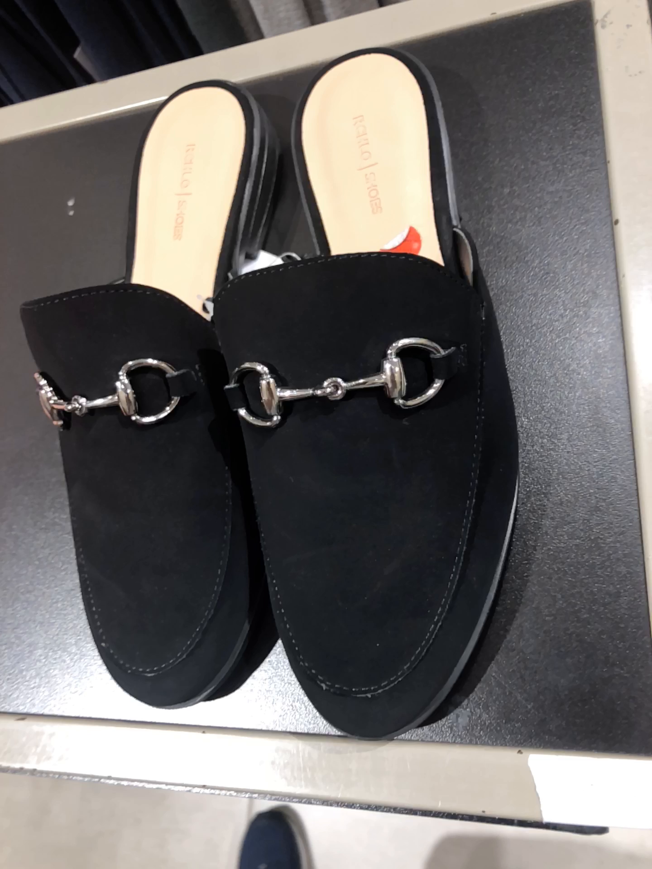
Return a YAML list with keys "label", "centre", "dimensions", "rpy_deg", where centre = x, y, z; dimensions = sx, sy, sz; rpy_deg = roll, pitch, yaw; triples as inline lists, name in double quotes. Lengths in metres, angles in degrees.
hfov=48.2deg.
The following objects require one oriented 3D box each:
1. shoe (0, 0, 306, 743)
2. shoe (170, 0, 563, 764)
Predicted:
- label: "shoe"
  centre: [-0.065, -0.019, 0.261]
  dimensions: [0.090, 0.080, 0.220]
  rpy_deg: [-4, 80, 19]
- label: "shoe"
  centre: [0.013, -0.024, 0.227]
  dimensions: [0.090, 0.070, 0.220]
  rpy_deg: [-7, 73, 18]
